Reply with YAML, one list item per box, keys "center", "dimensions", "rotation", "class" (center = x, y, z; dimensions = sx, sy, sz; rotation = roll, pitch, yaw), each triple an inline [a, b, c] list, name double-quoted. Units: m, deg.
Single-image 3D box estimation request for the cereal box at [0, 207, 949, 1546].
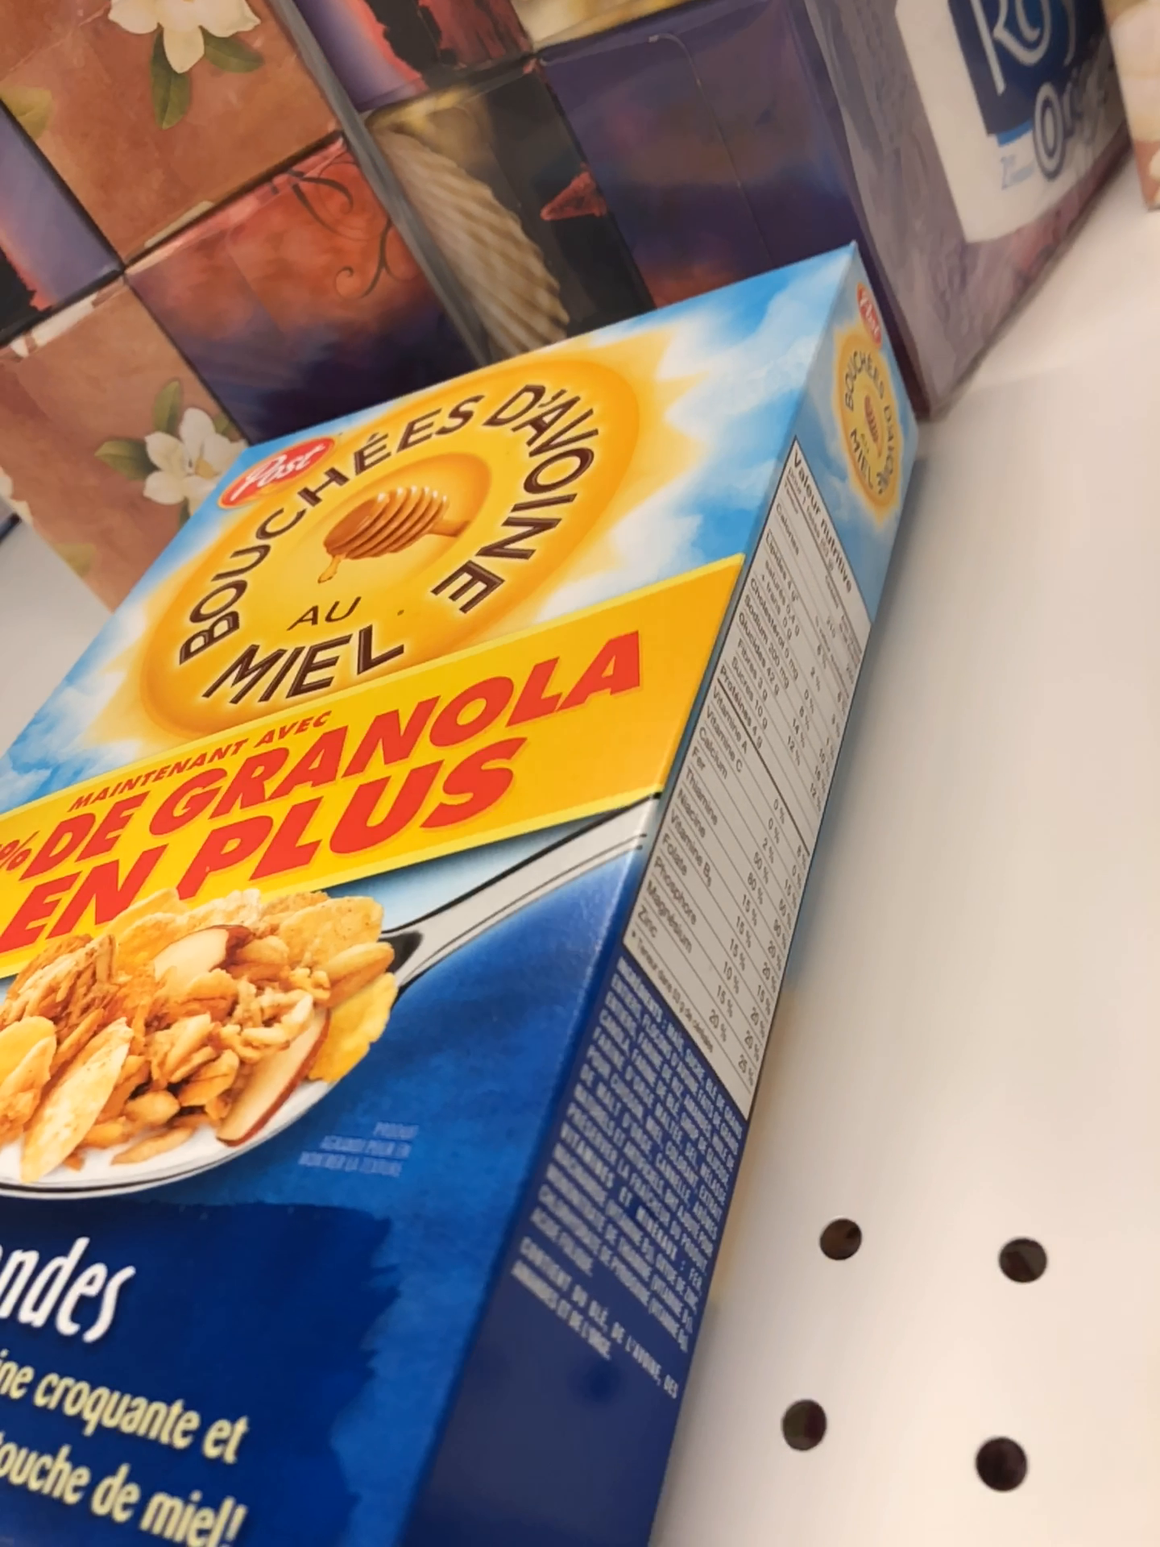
- center: [-0.058, 0.010, 0.256]
  dimensions: [0.210, 0.050, 0.271]
  rotation: [-6, 45, 33]
  class: "cereal box"
